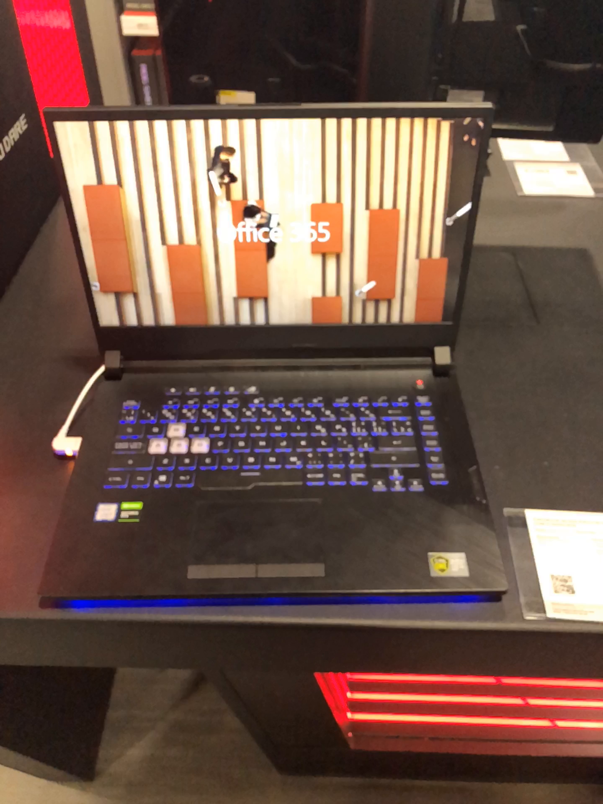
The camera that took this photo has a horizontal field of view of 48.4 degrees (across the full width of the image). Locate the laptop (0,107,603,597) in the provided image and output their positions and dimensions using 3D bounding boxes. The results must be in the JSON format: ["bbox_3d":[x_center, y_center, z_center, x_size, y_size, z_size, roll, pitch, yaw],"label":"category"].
[{"bbox_3d":[-0.023,-0.041,0.529,0.360,0.268,0.276,-1,45,-1],"label":"laptop"}]
